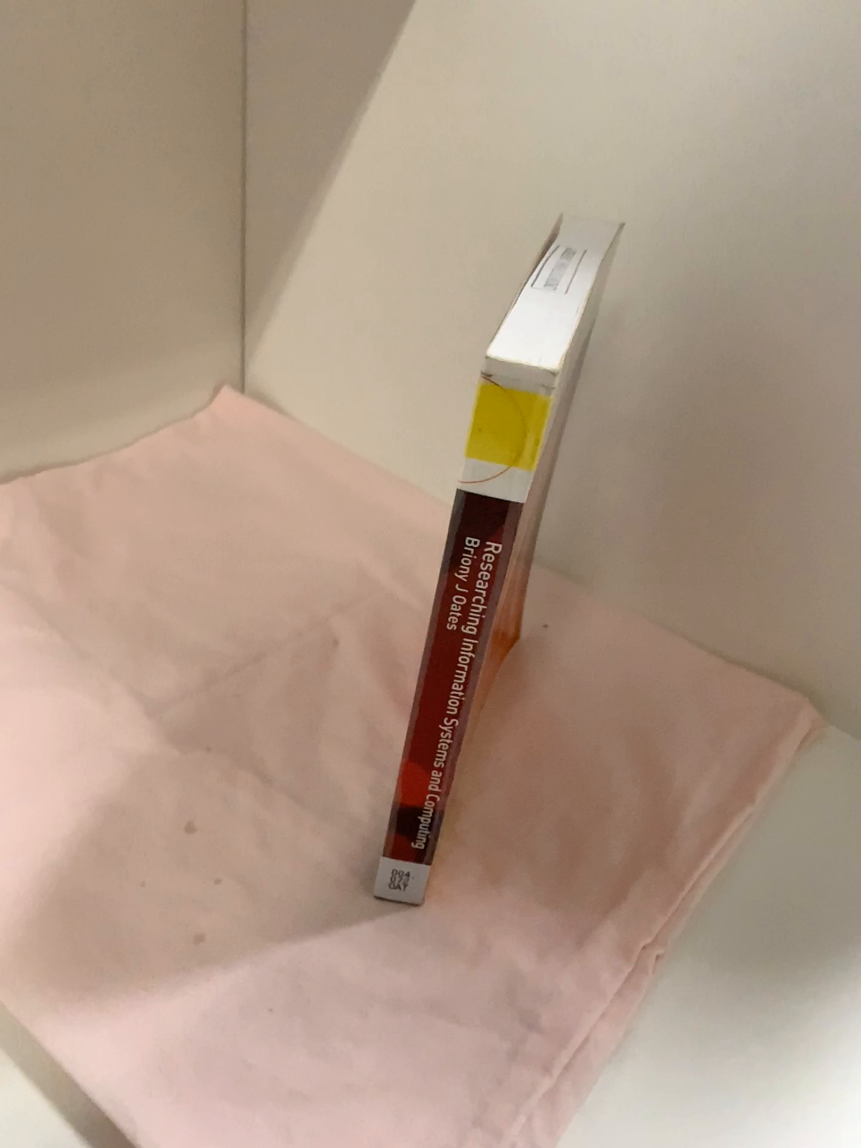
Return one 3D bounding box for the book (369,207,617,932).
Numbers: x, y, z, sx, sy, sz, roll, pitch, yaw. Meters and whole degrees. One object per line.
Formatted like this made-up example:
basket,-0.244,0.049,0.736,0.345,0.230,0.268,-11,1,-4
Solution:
book,0.029,-0.009,0.378,0.026,0.238,0.203,15,34,7
